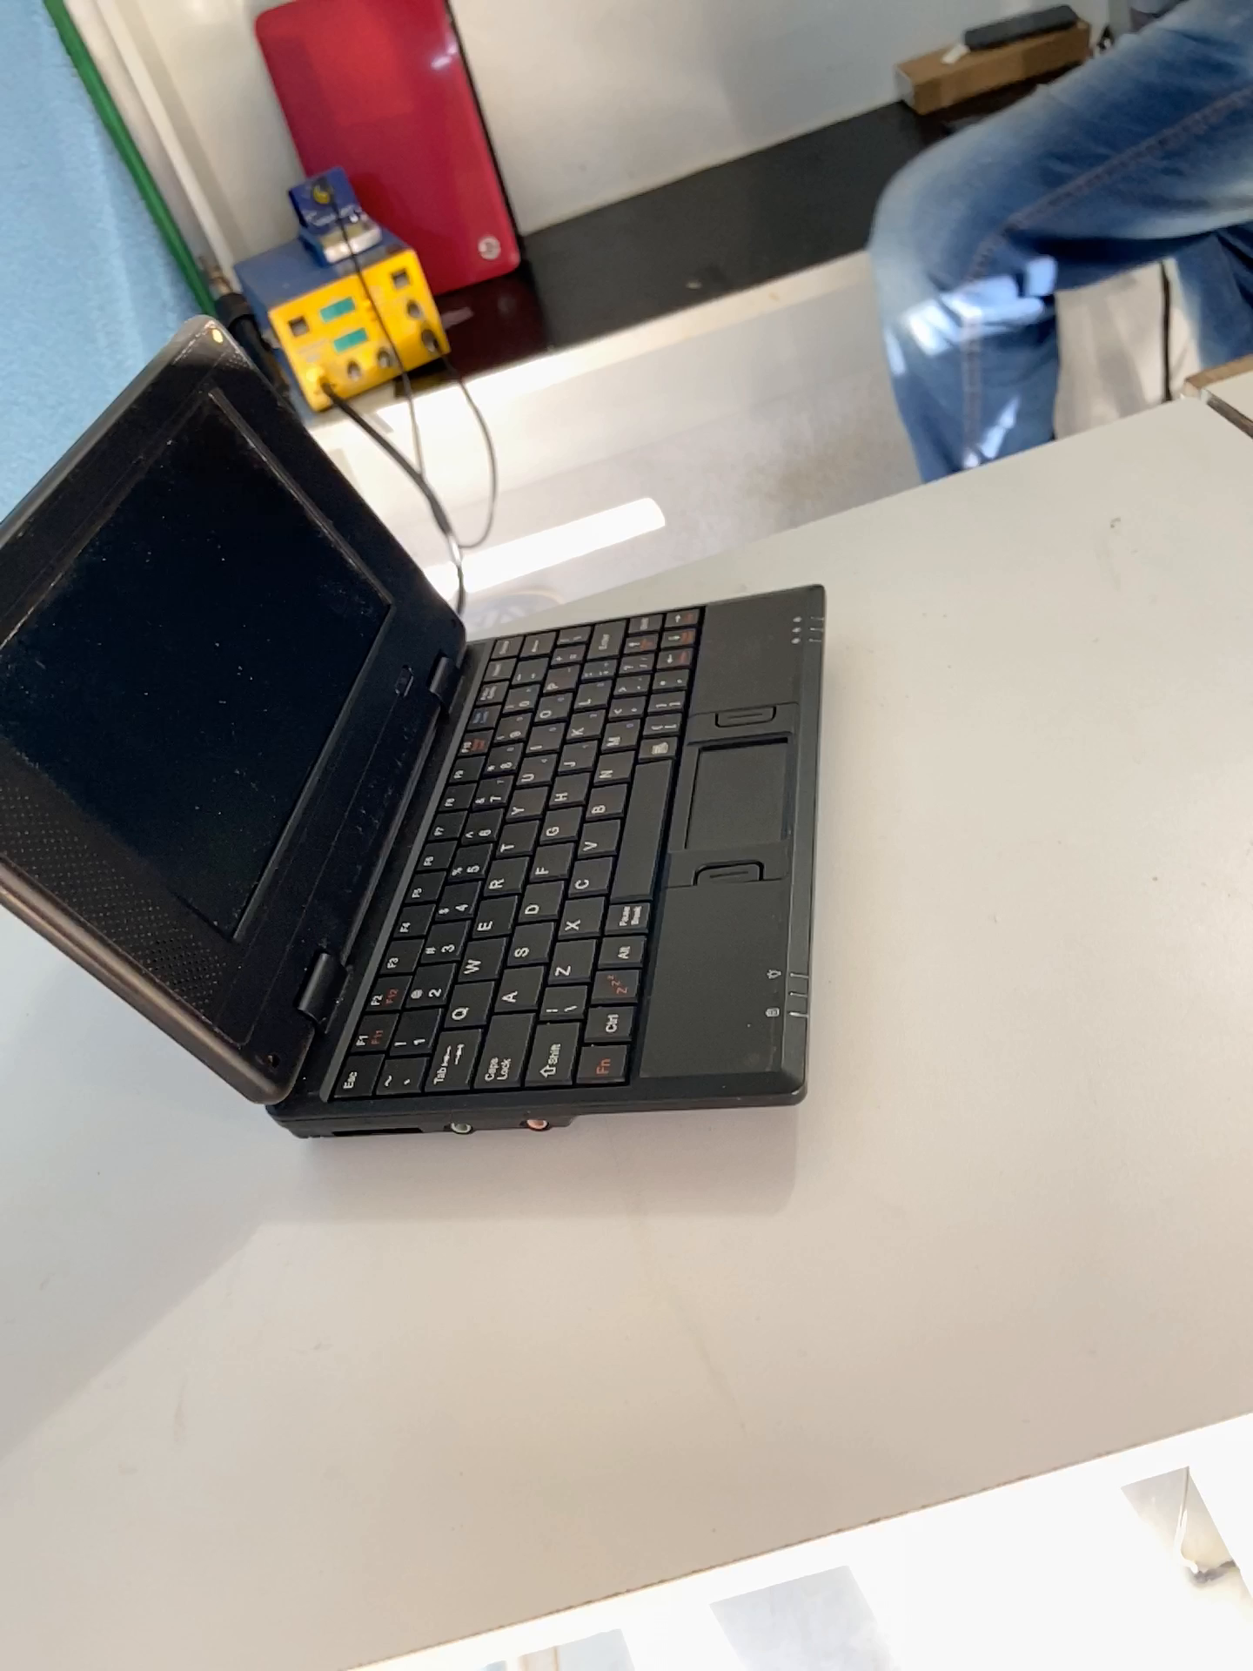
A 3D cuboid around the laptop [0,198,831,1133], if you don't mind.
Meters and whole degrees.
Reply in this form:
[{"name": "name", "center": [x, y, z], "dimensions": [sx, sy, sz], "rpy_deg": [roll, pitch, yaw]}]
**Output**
[{"name": "laptop", "center": [-0.047, -0.051, 0.363], "dimensions": [0.179, 0.137, 0.217], "rpy_deg": [-6, 42, 16]}]
